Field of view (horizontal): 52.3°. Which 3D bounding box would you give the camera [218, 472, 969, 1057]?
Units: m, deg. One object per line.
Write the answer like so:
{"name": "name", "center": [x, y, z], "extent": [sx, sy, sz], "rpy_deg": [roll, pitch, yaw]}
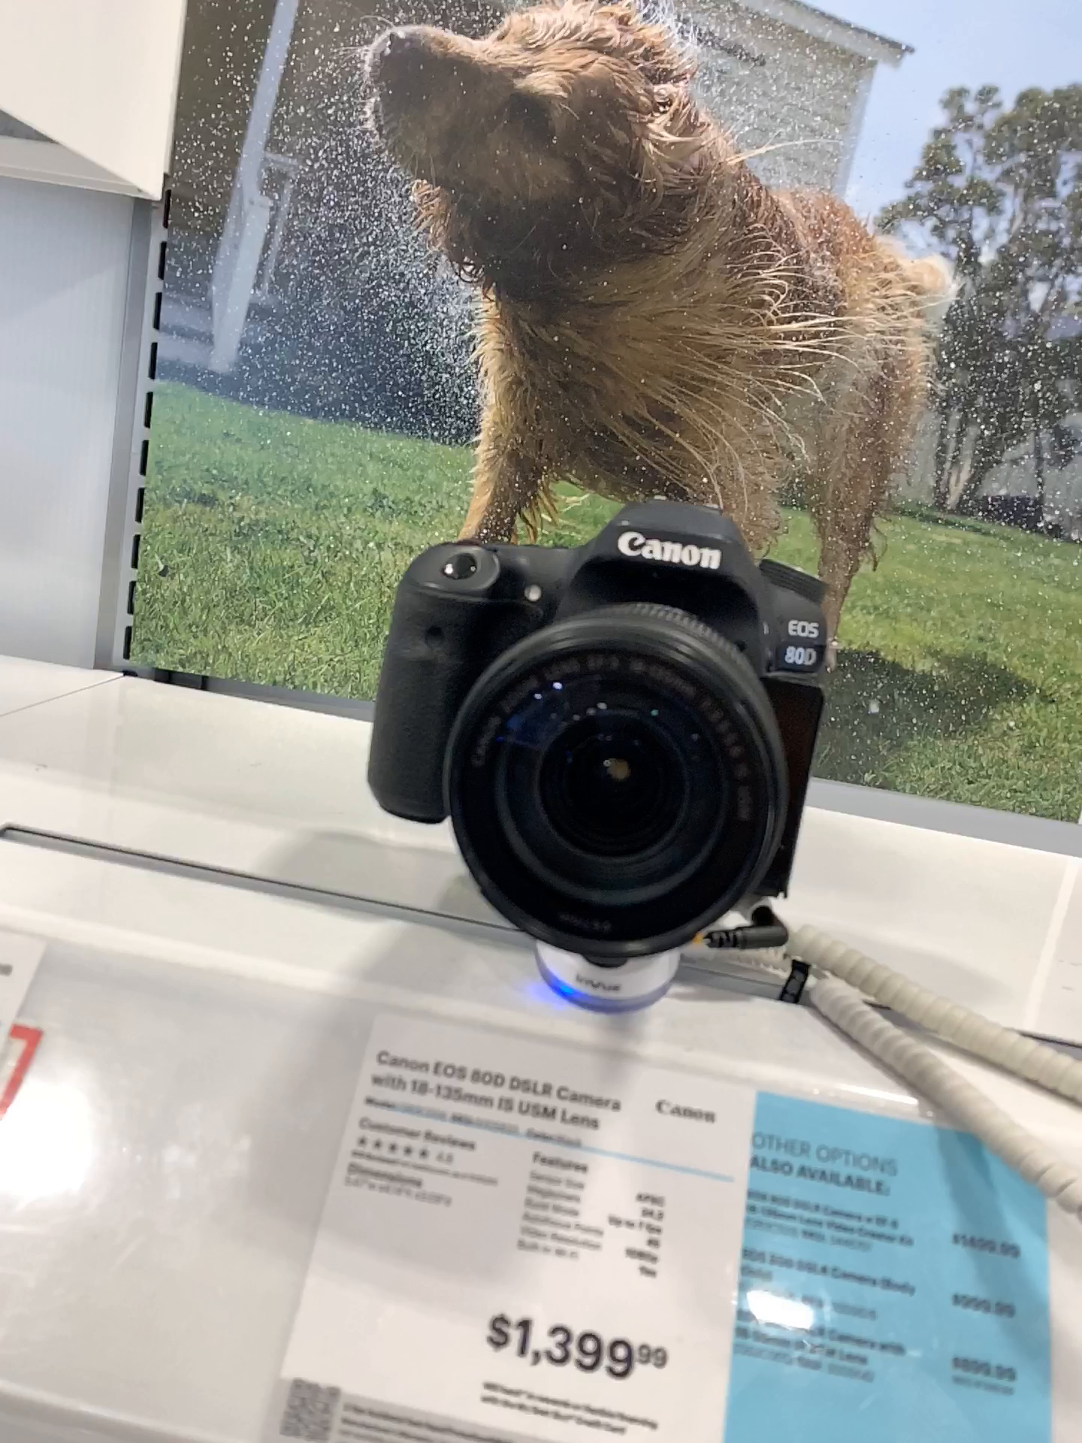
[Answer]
{"name": "camera", "center": [0.015, -0.006, 0.304], "extent": [0.140, 0.100, 0.160], "rpy_deg": [10, 12, 5]}
